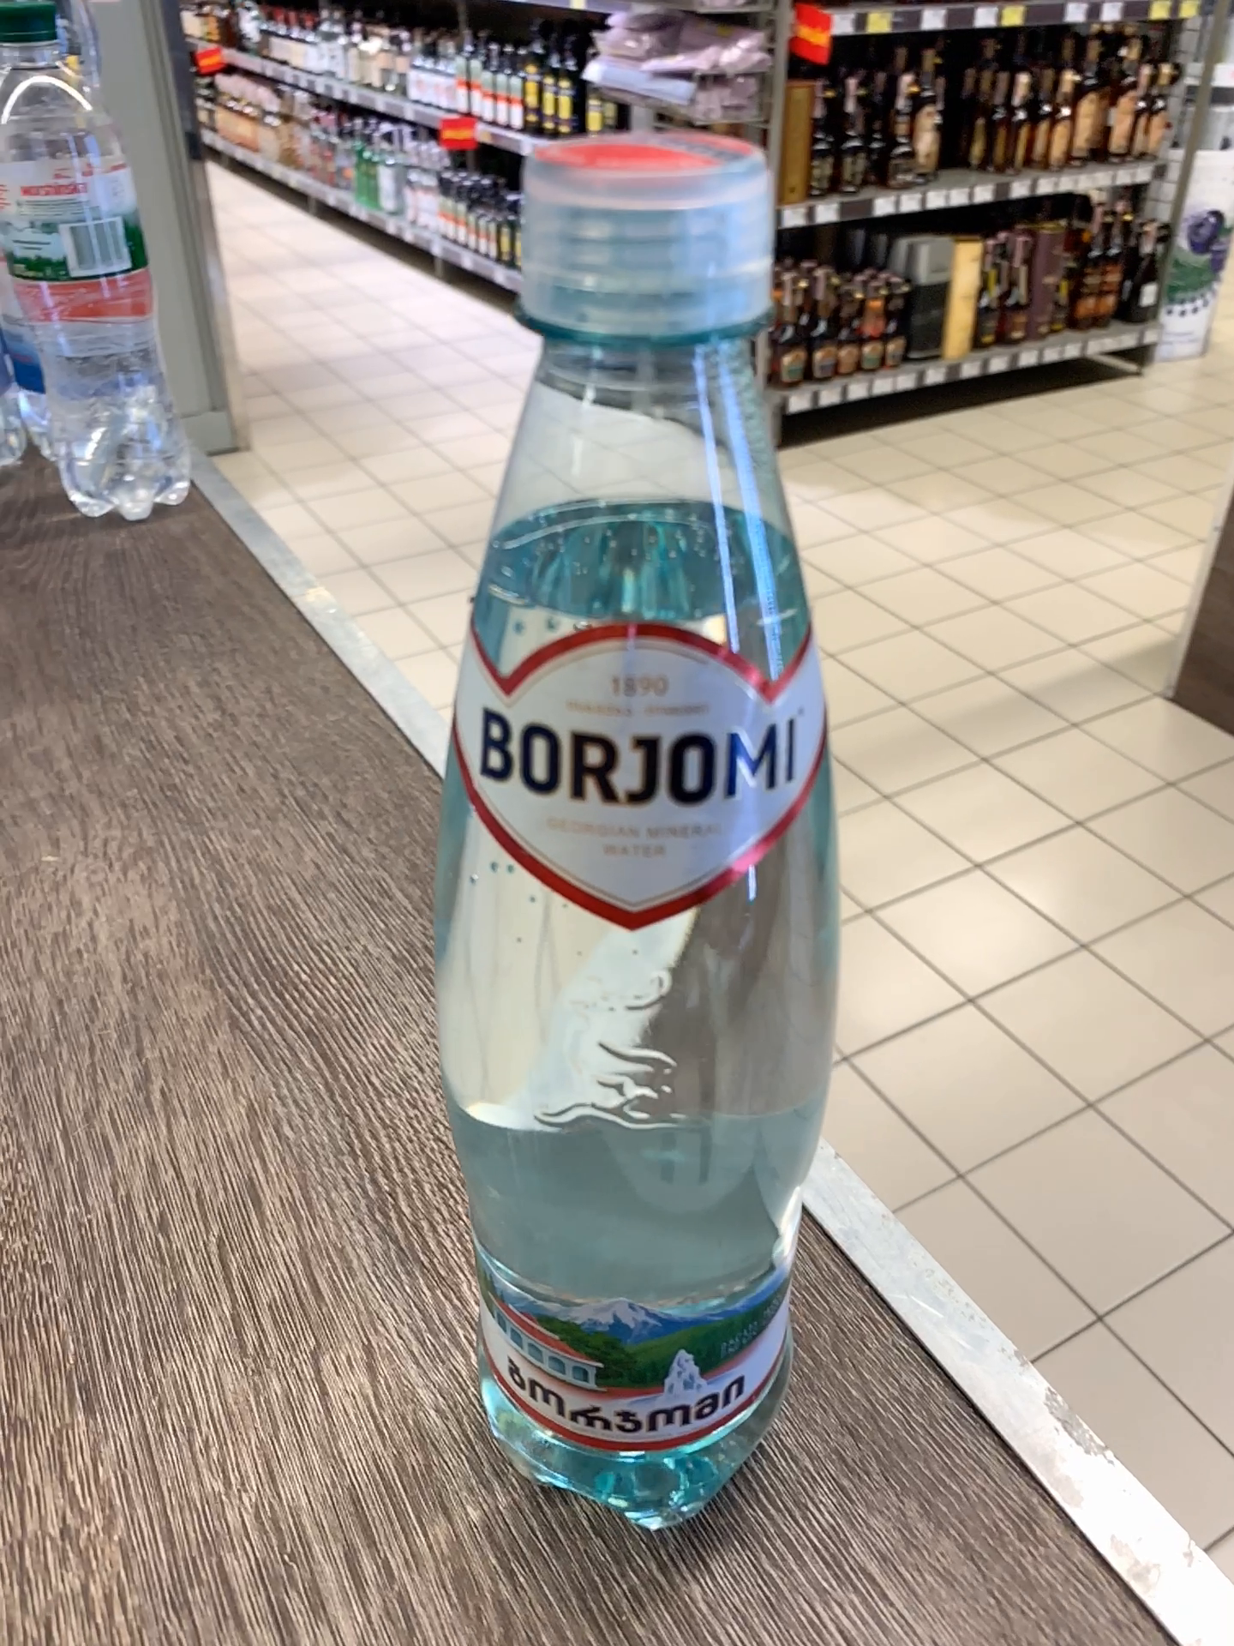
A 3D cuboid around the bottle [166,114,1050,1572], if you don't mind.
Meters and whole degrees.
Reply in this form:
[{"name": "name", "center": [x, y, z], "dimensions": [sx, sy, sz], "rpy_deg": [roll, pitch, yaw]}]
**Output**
[{"name": "bottle", "center": [0.003, 0.024, 0.211], "dimensions": [0.080, 0.239, 0.070], "rpy_deg": [6, 36, 8]}]
